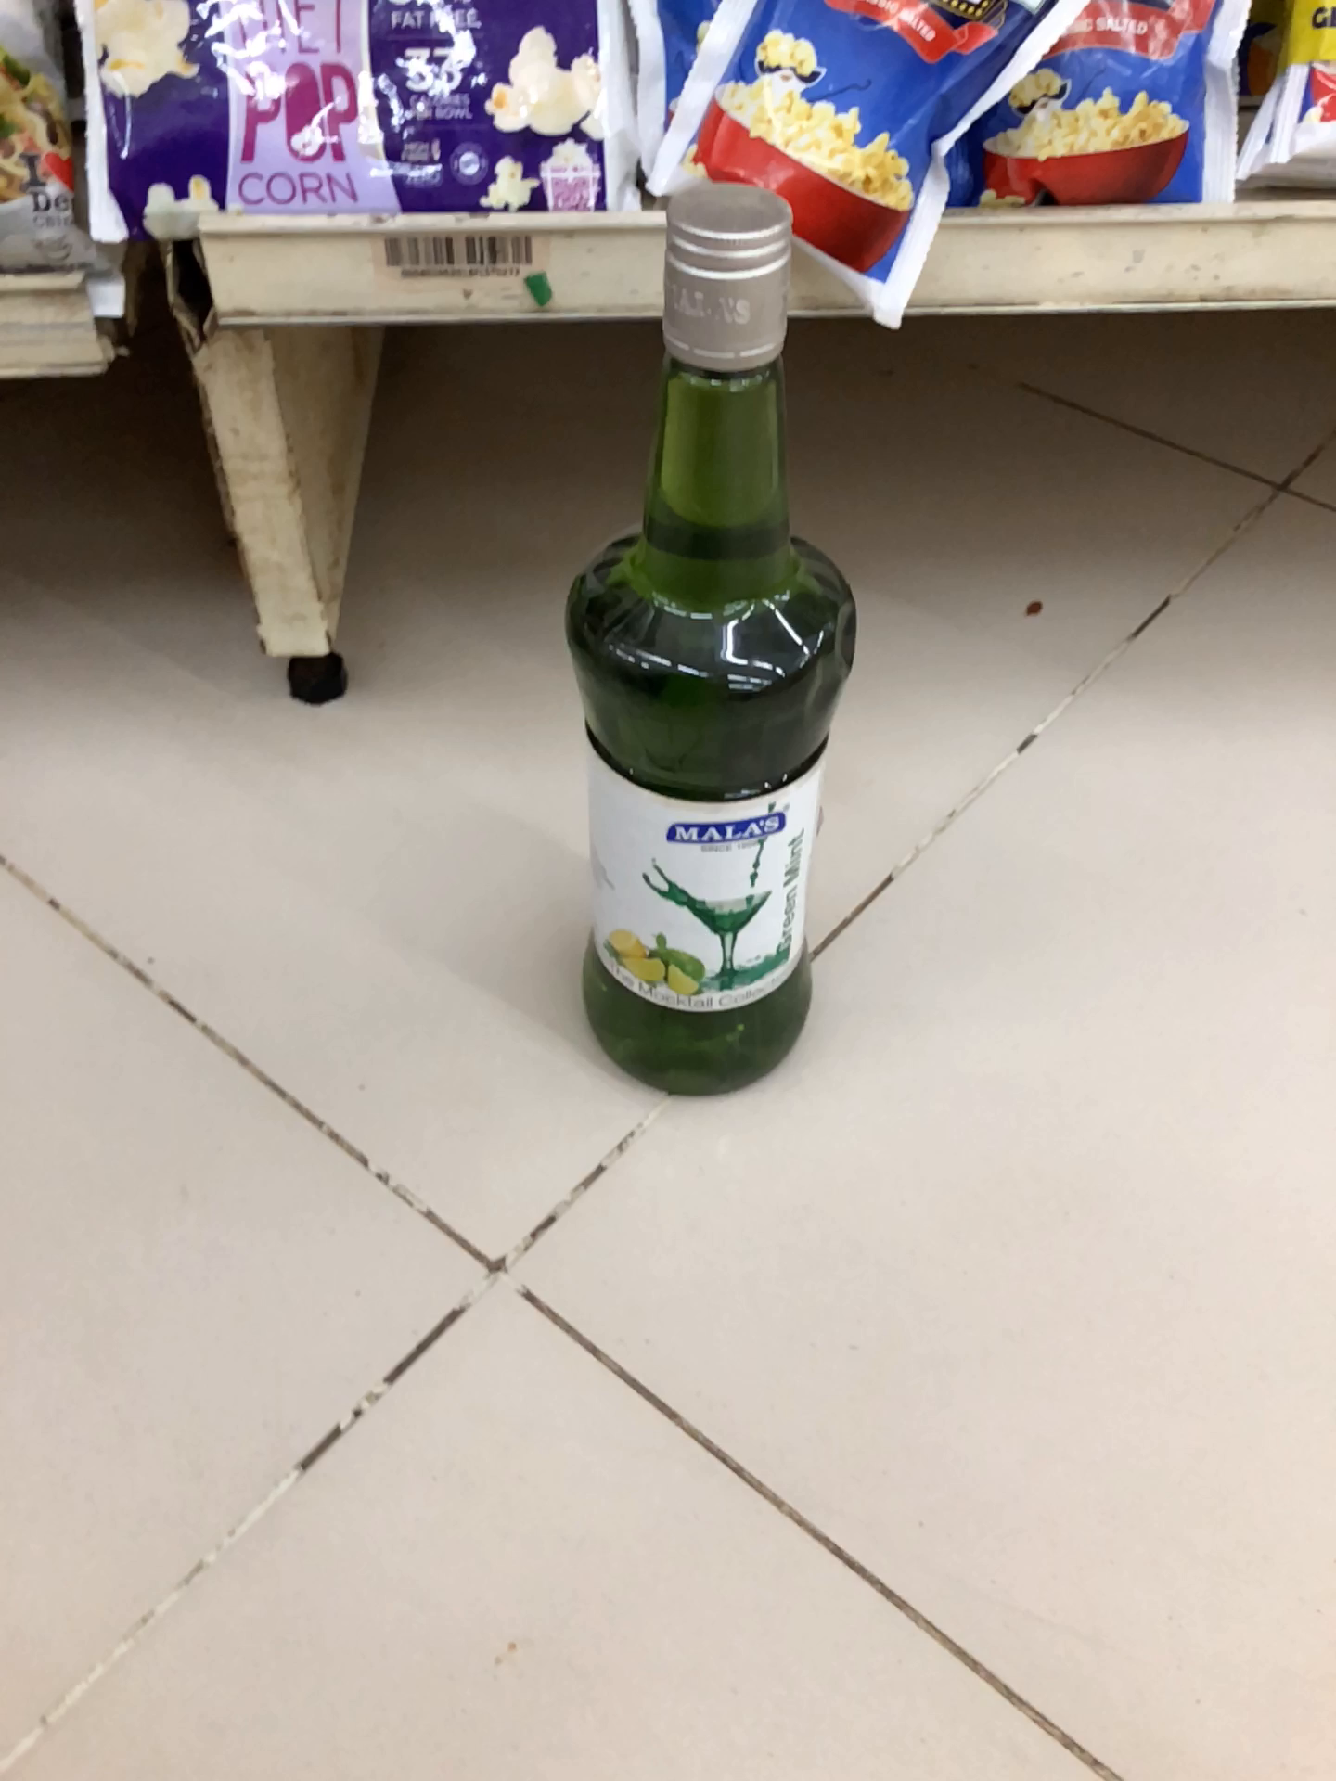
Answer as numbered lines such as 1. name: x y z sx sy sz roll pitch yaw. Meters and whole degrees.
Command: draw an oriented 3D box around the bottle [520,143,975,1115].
1. bottle: 0.015 -0.054 0.434 0.090 0.278 0.091 0 48 0
